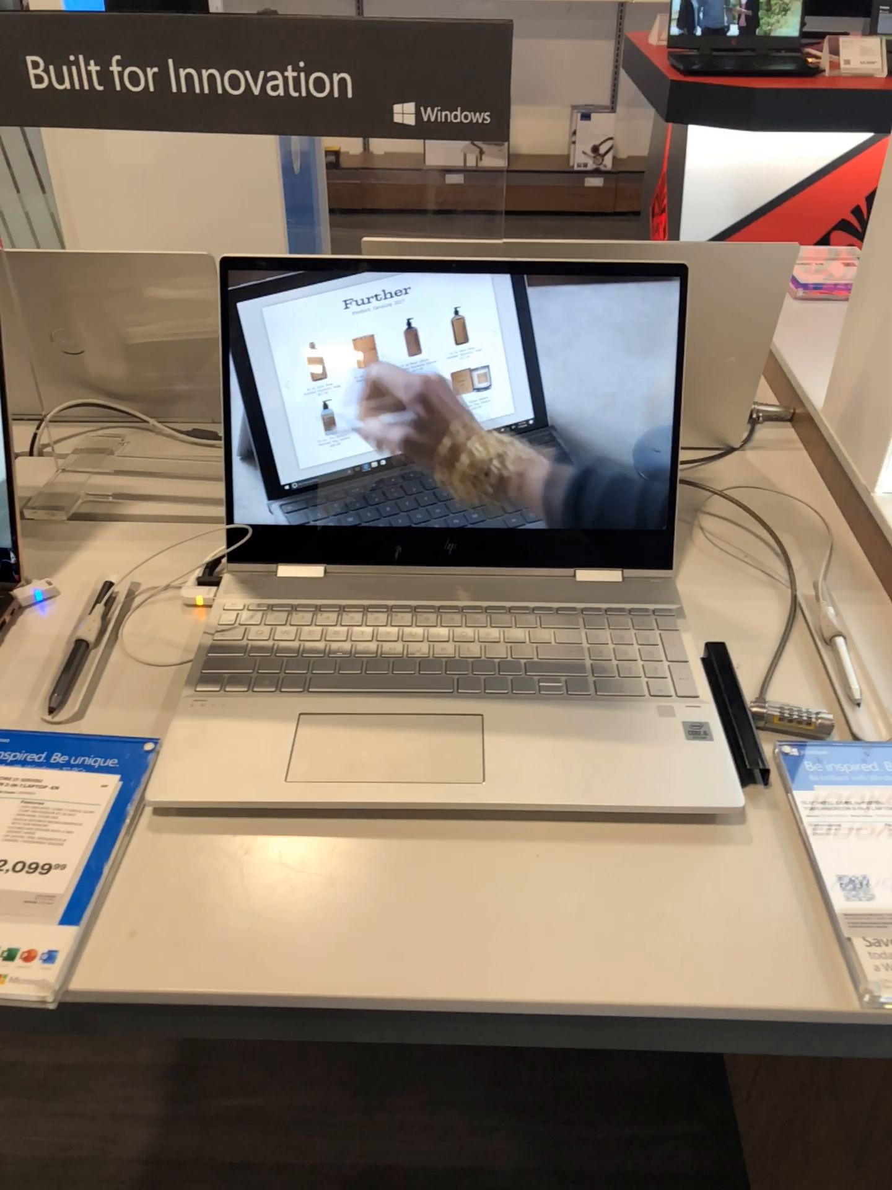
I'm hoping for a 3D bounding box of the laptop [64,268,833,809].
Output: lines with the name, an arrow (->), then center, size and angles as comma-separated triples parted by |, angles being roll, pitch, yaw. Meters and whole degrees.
laptop -> 0.004, -0.062, 0.663 | 0.358, 0.210, 0.355 | 1, 35, 1
